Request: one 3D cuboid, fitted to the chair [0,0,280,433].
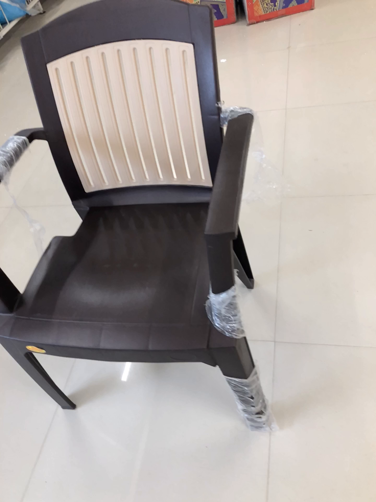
[{"bbox_3d":[-0.158,-0.094,0.795,0.600,0.557,0.654,-4,48,13],"label":"chair"}]
